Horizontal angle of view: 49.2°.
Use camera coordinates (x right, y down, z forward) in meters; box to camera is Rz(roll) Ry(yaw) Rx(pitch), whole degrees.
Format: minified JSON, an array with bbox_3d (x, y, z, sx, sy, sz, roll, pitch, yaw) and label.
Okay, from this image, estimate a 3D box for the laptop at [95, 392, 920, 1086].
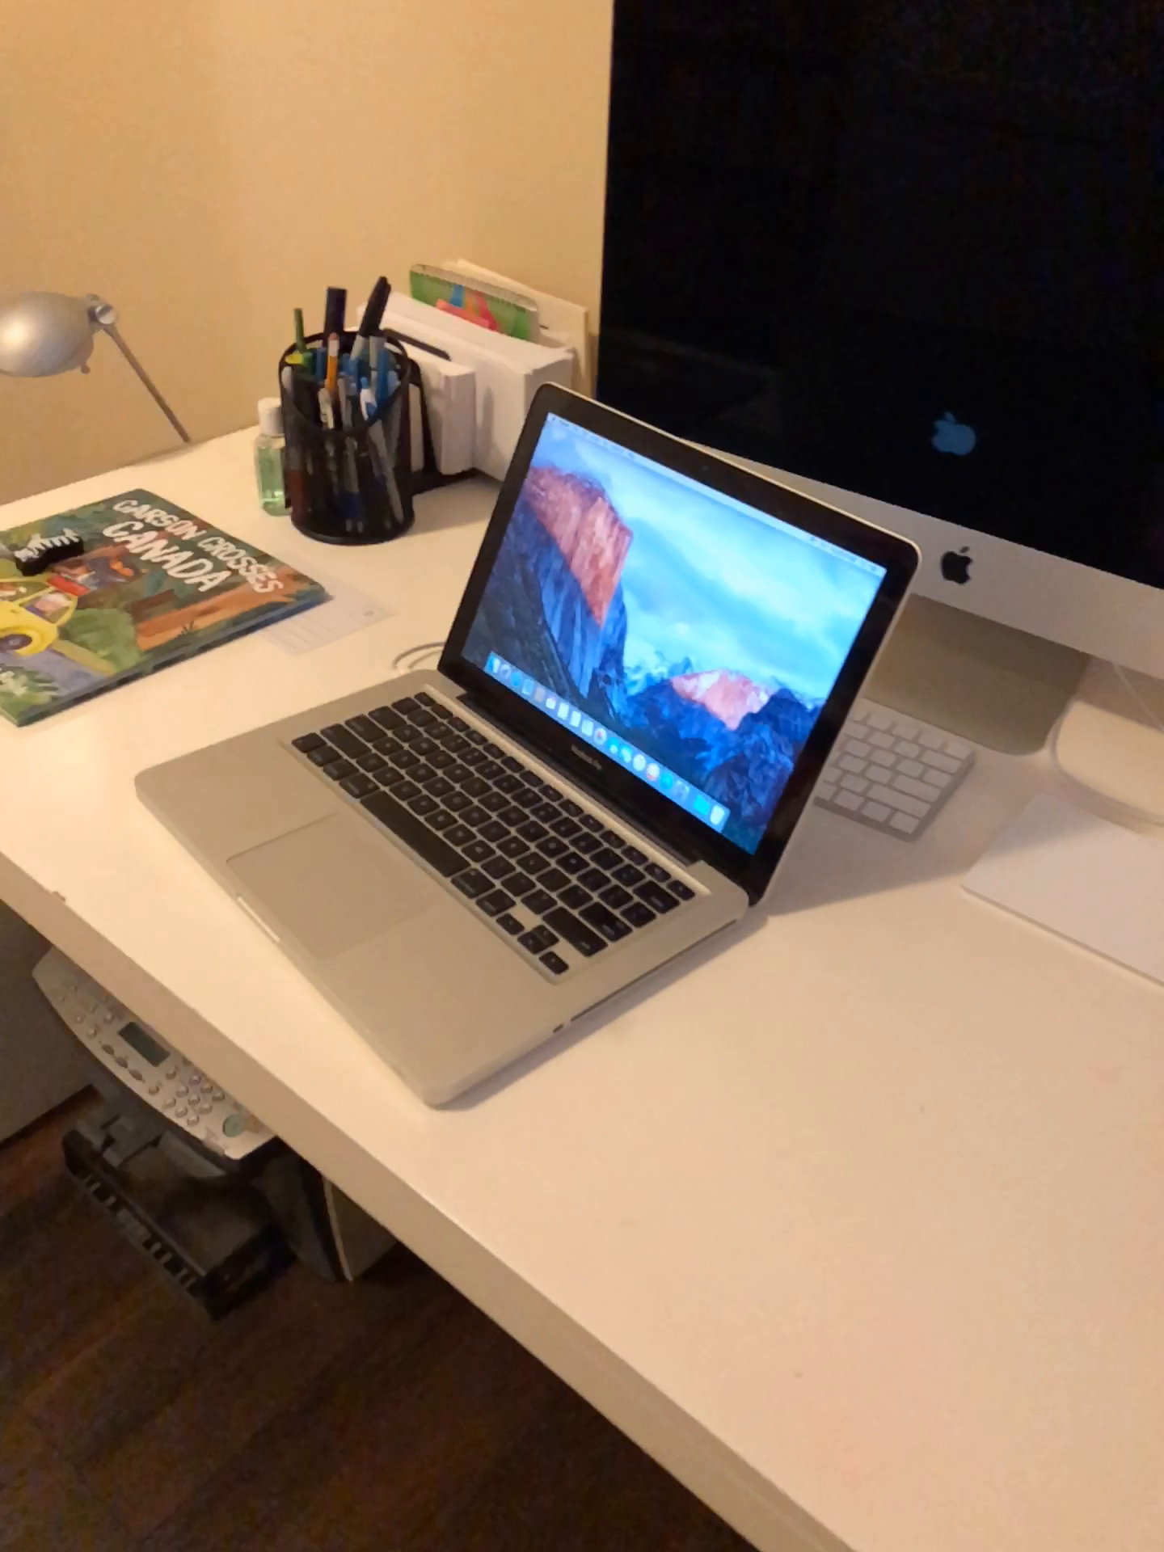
[{"bbox_3d":[-0.045,-0.054,0.722,0.313,0.187,0.303,-25,44,-33],"label":"laptop"}]
